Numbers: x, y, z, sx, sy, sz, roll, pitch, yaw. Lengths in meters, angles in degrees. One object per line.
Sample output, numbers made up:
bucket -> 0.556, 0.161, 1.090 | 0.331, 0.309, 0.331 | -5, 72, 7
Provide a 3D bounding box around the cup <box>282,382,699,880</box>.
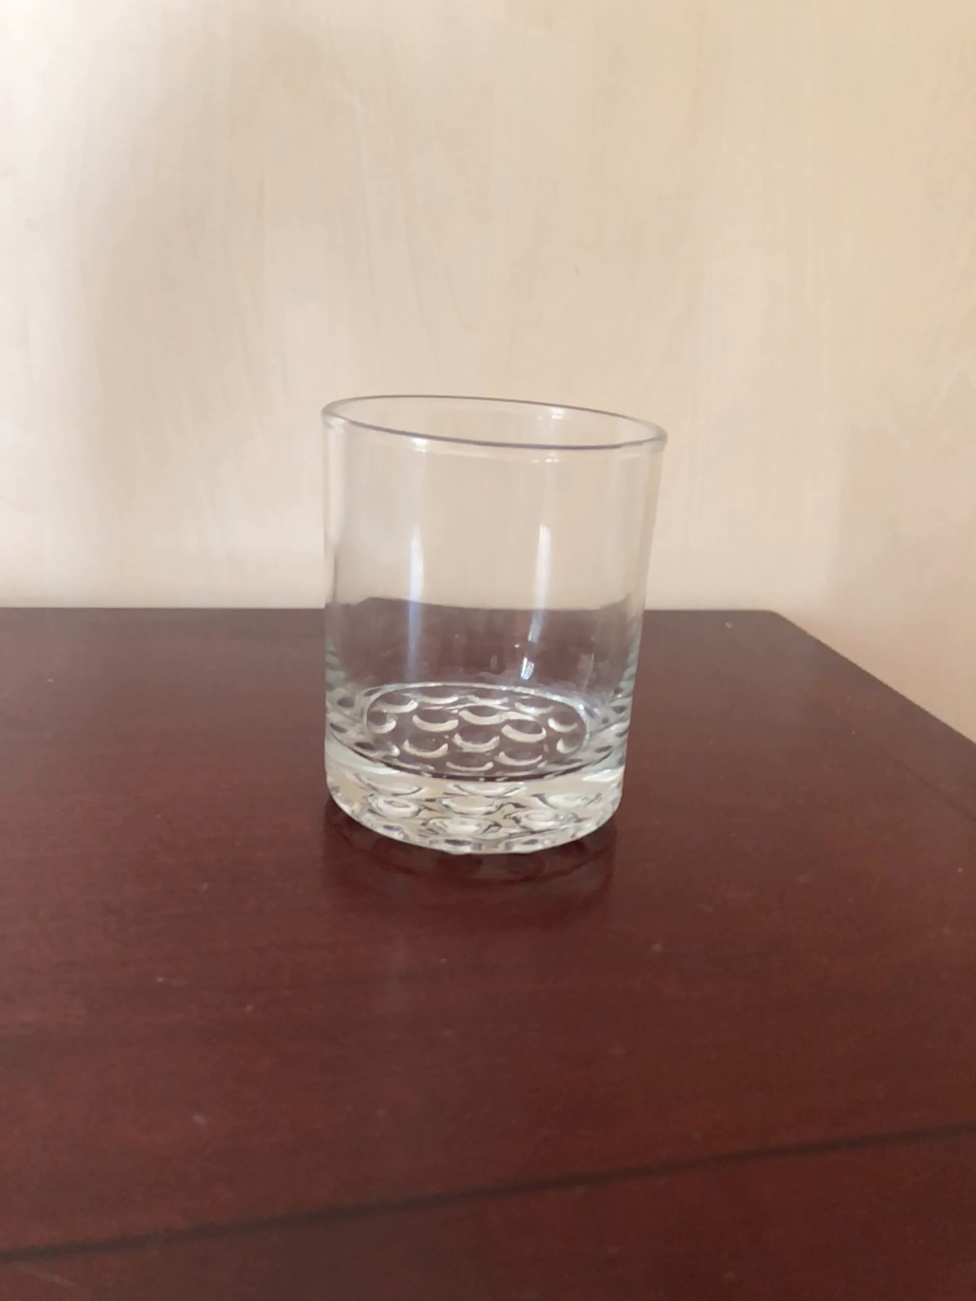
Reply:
cup -> -0.003, -0.010, 0.264 | 0.081, 0.097, 0.082 | 4, 18, -1
